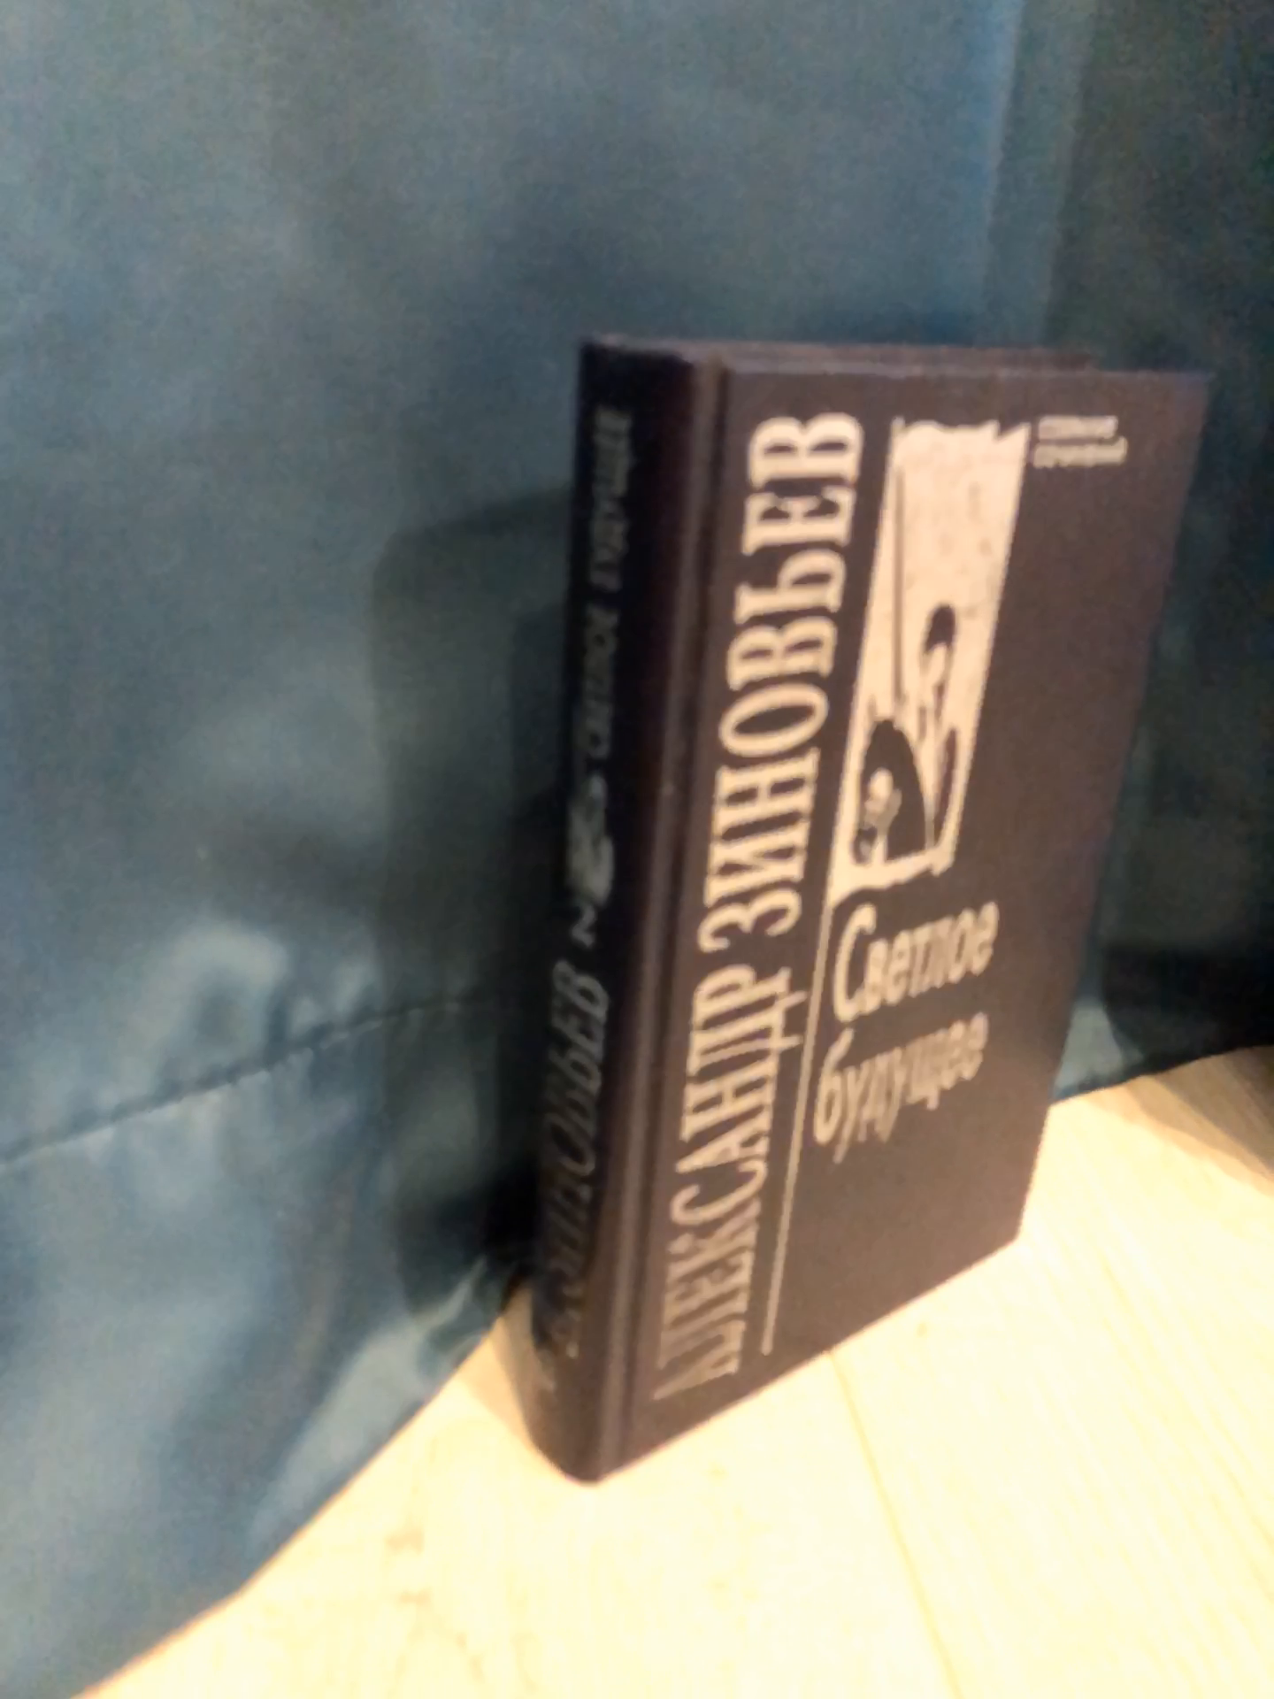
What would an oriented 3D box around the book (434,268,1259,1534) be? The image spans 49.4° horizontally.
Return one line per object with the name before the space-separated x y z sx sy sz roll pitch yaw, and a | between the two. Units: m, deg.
book | 0.038 0.004 0.261 0.151 0.199 0.040 -14 27 -38
